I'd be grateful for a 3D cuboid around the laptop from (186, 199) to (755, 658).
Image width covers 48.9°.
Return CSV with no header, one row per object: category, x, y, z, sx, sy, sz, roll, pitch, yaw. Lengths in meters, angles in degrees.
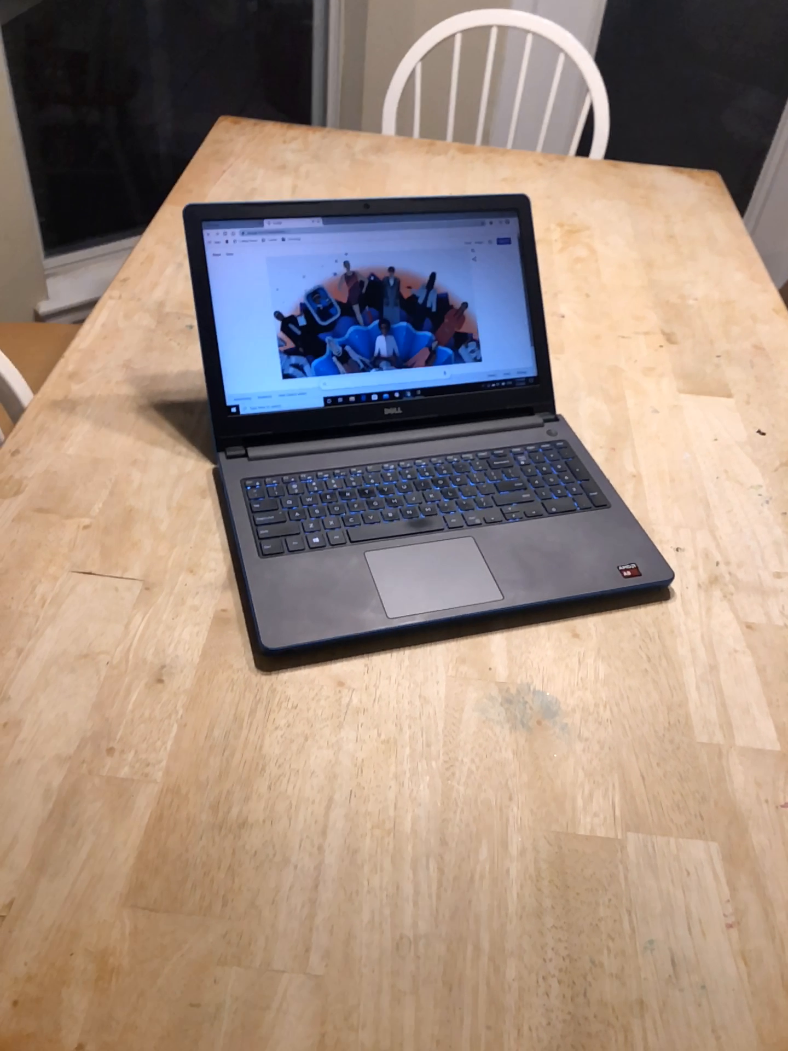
laptop,0.027,-0.126,0.805,0.367,0.174,0.421,-9,44,-15
